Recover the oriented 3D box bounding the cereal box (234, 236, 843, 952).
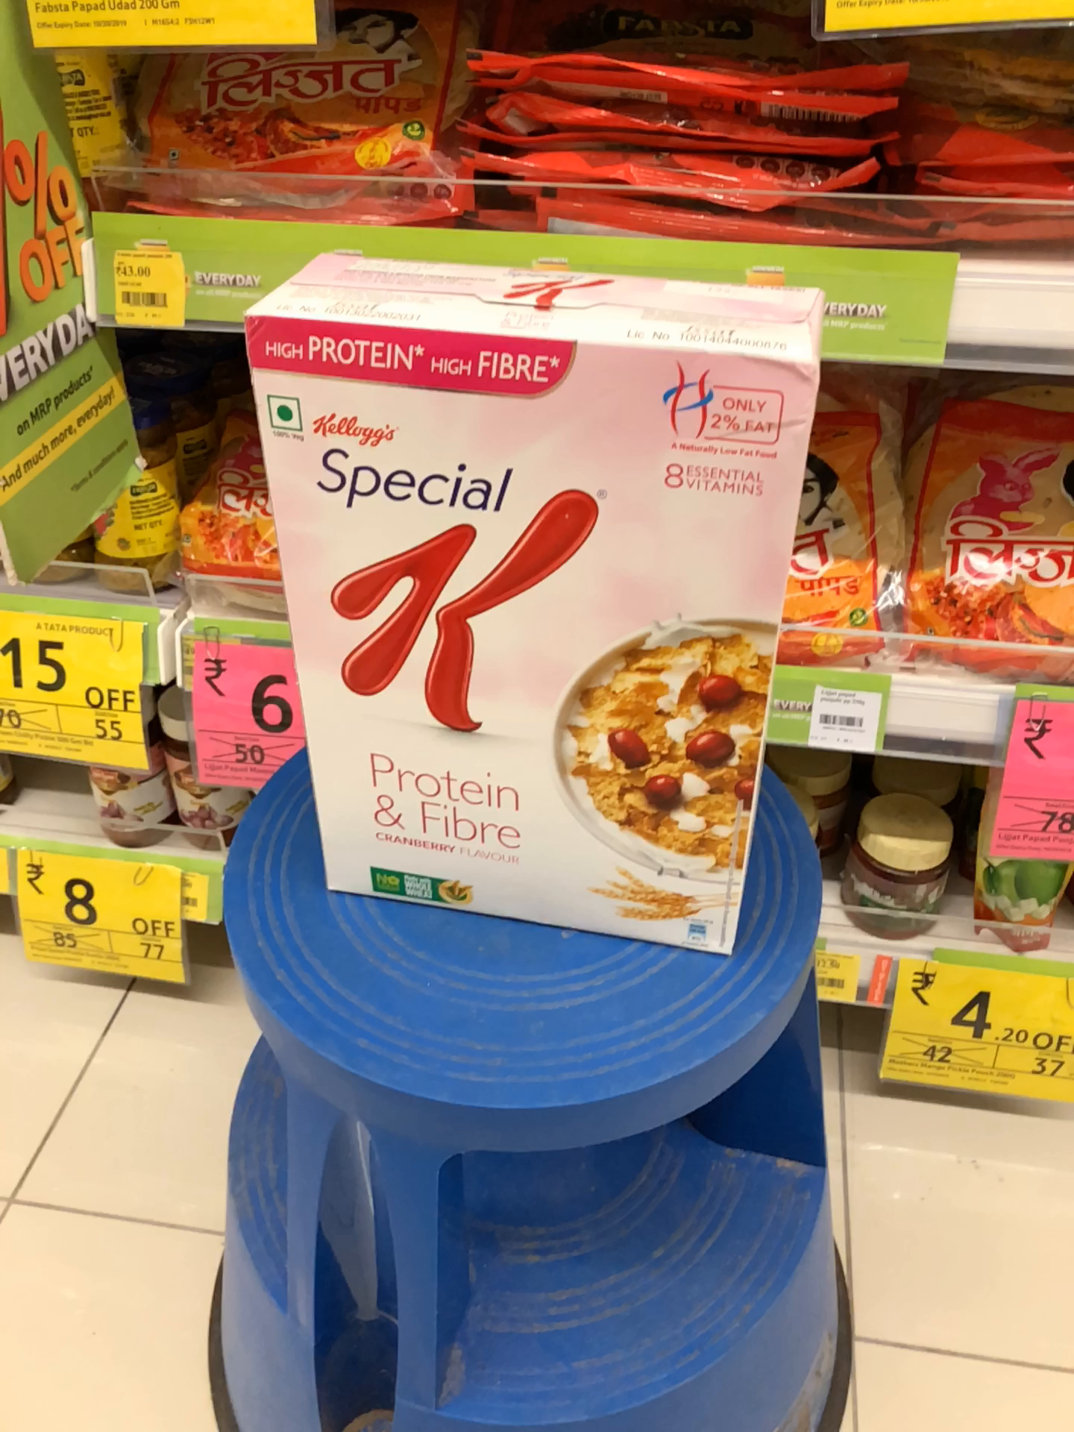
[{"bbox_3d":[0.004,-0.037,0.447,0.180,0.248,0.071,8,38,11],"label":"cereal box"}]
